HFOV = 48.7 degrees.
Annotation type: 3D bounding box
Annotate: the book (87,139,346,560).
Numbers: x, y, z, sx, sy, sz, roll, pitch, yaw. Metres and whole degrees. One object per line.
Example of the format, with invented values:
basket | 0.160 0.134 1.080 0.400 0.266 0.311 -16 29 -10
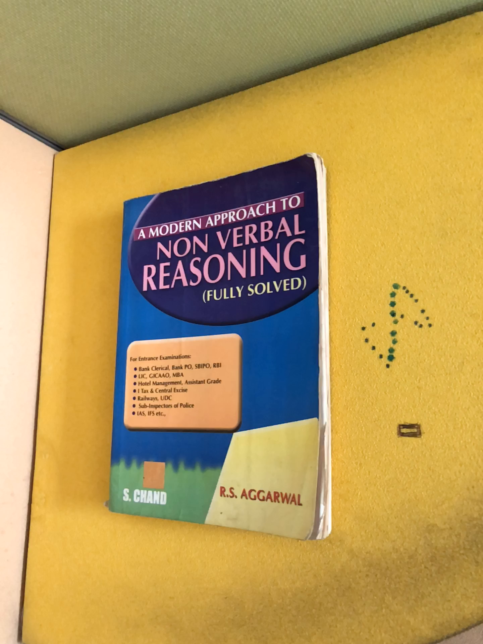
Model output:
book | -0.021 0.017 0.362 0.170 0.040 0.240 -5 78 30
